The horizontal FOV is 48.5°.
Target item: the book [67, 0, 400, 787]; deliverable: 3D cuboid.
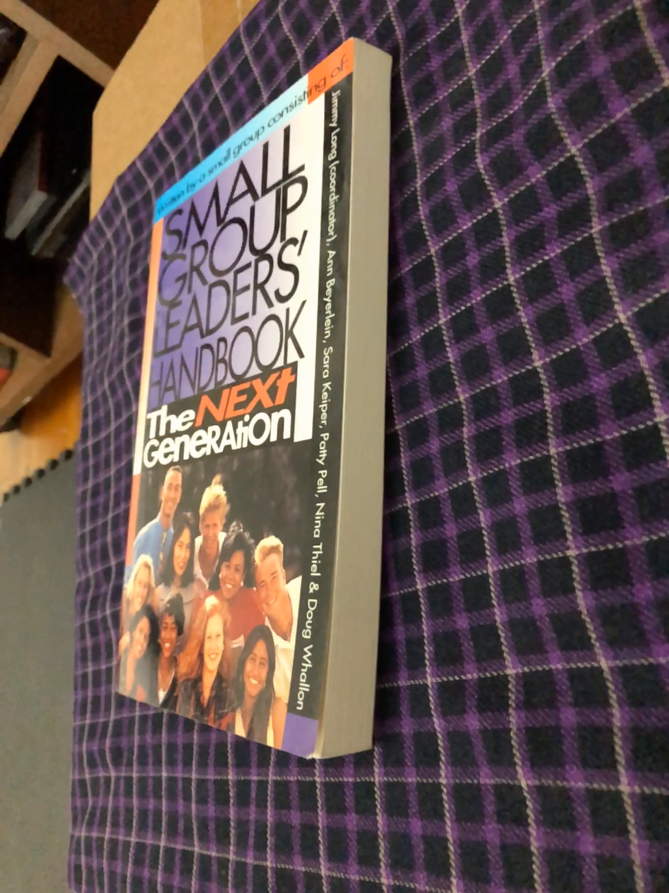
[{"bbox_3d":[-0.042,-0.018,0.260,0.151,0.030,0.220,-12,73,50],"label":"book"}]
